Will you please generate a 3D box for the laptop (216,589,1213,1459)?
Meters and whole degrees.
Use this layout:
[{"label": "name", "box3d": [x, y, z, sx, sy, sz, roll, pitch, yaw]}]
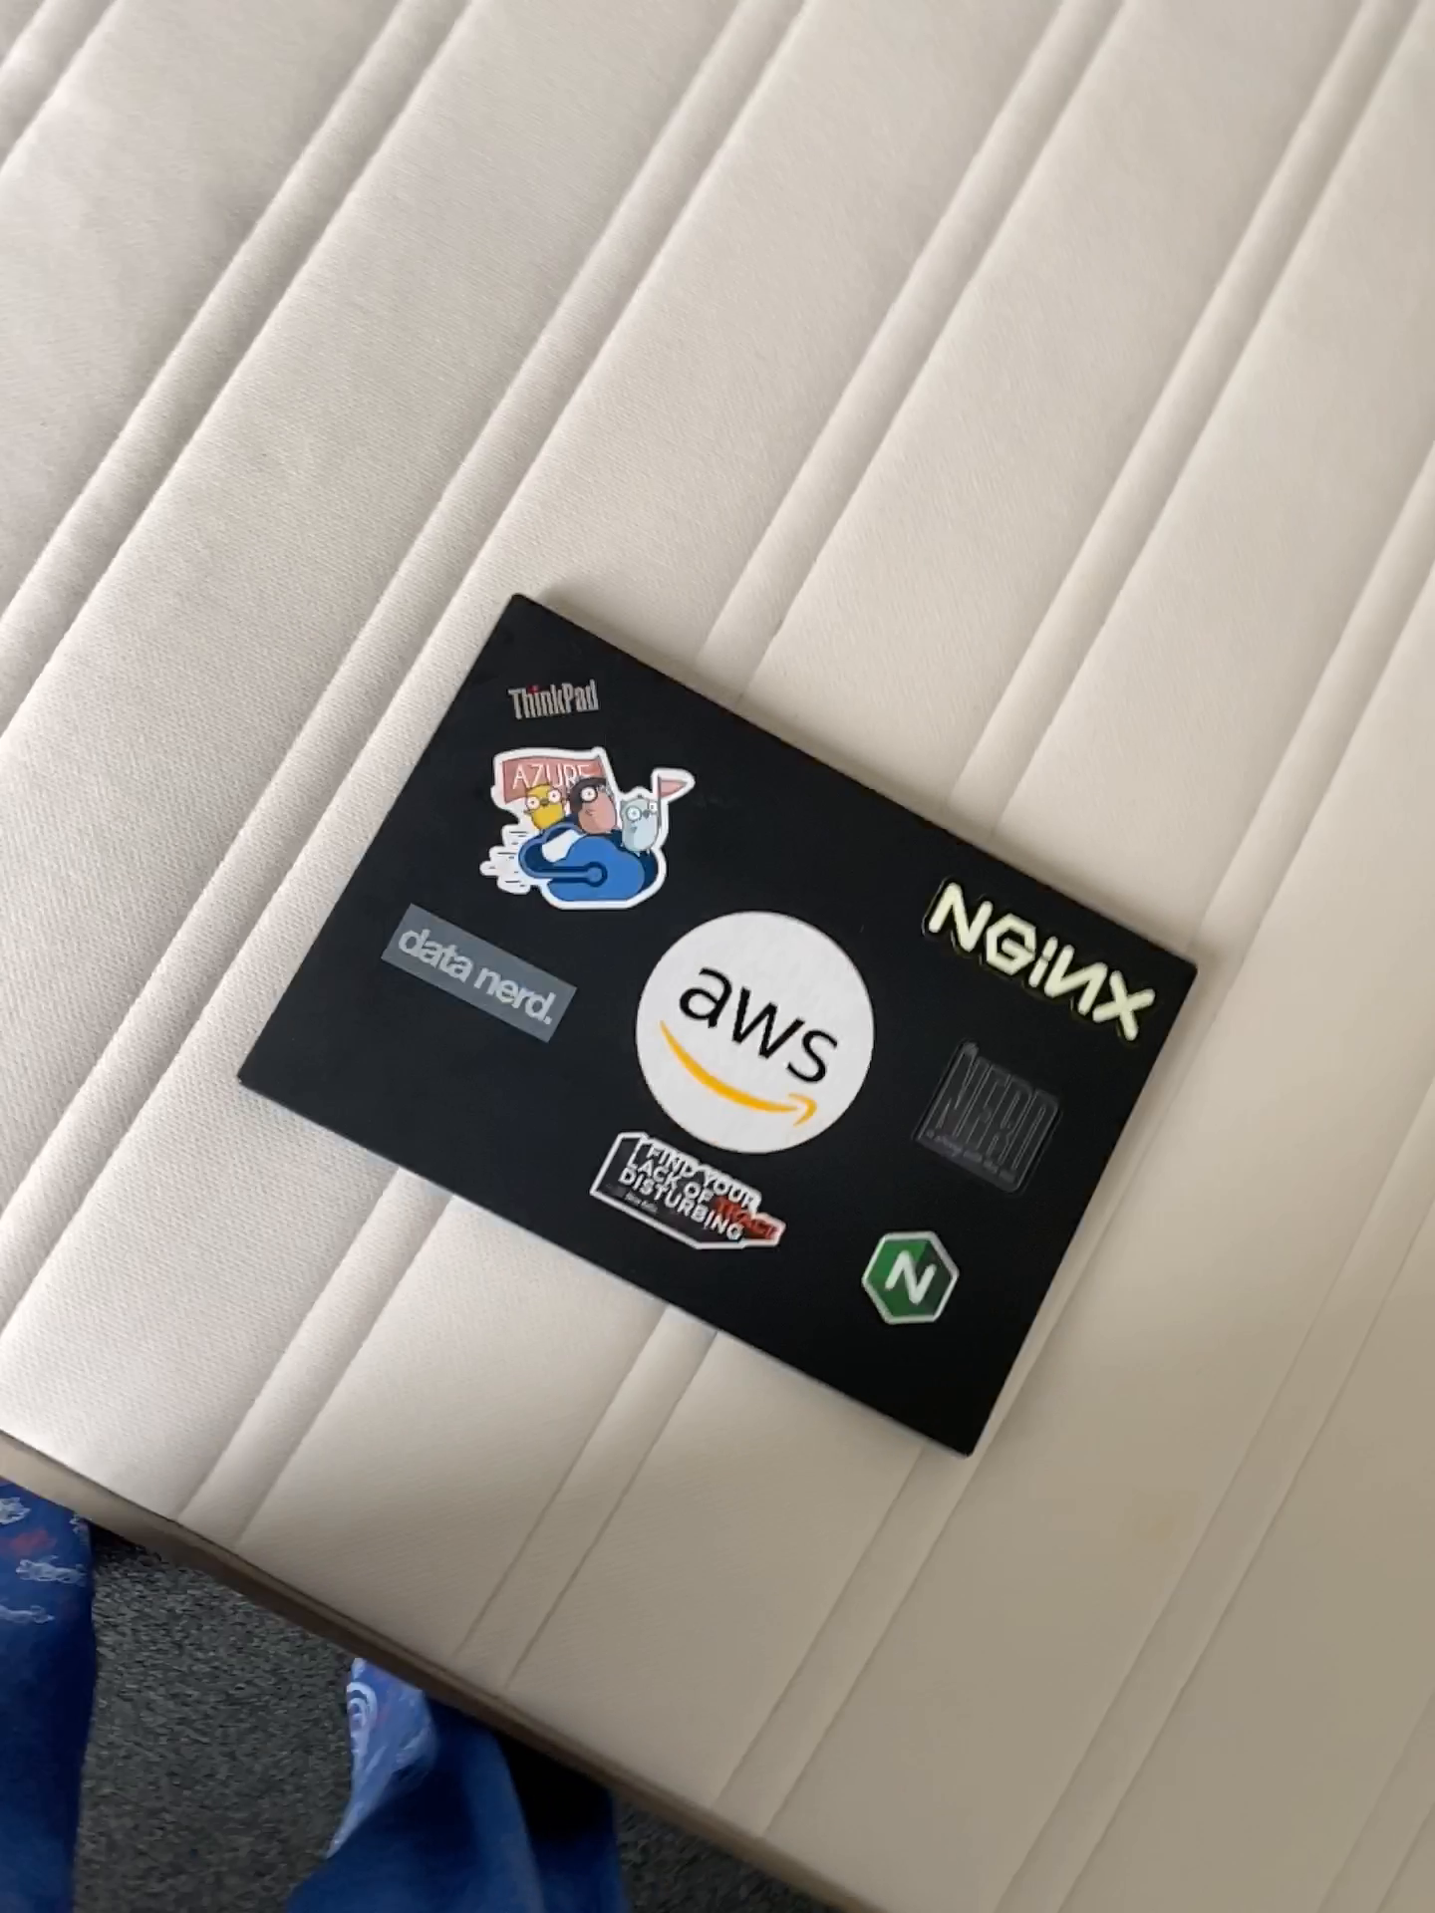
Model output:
[{"label": "laptop", "box3d": [0.008, 0.023, 0.584, 0.322, 0.014, 0.224, 28, 79, -3]}]
